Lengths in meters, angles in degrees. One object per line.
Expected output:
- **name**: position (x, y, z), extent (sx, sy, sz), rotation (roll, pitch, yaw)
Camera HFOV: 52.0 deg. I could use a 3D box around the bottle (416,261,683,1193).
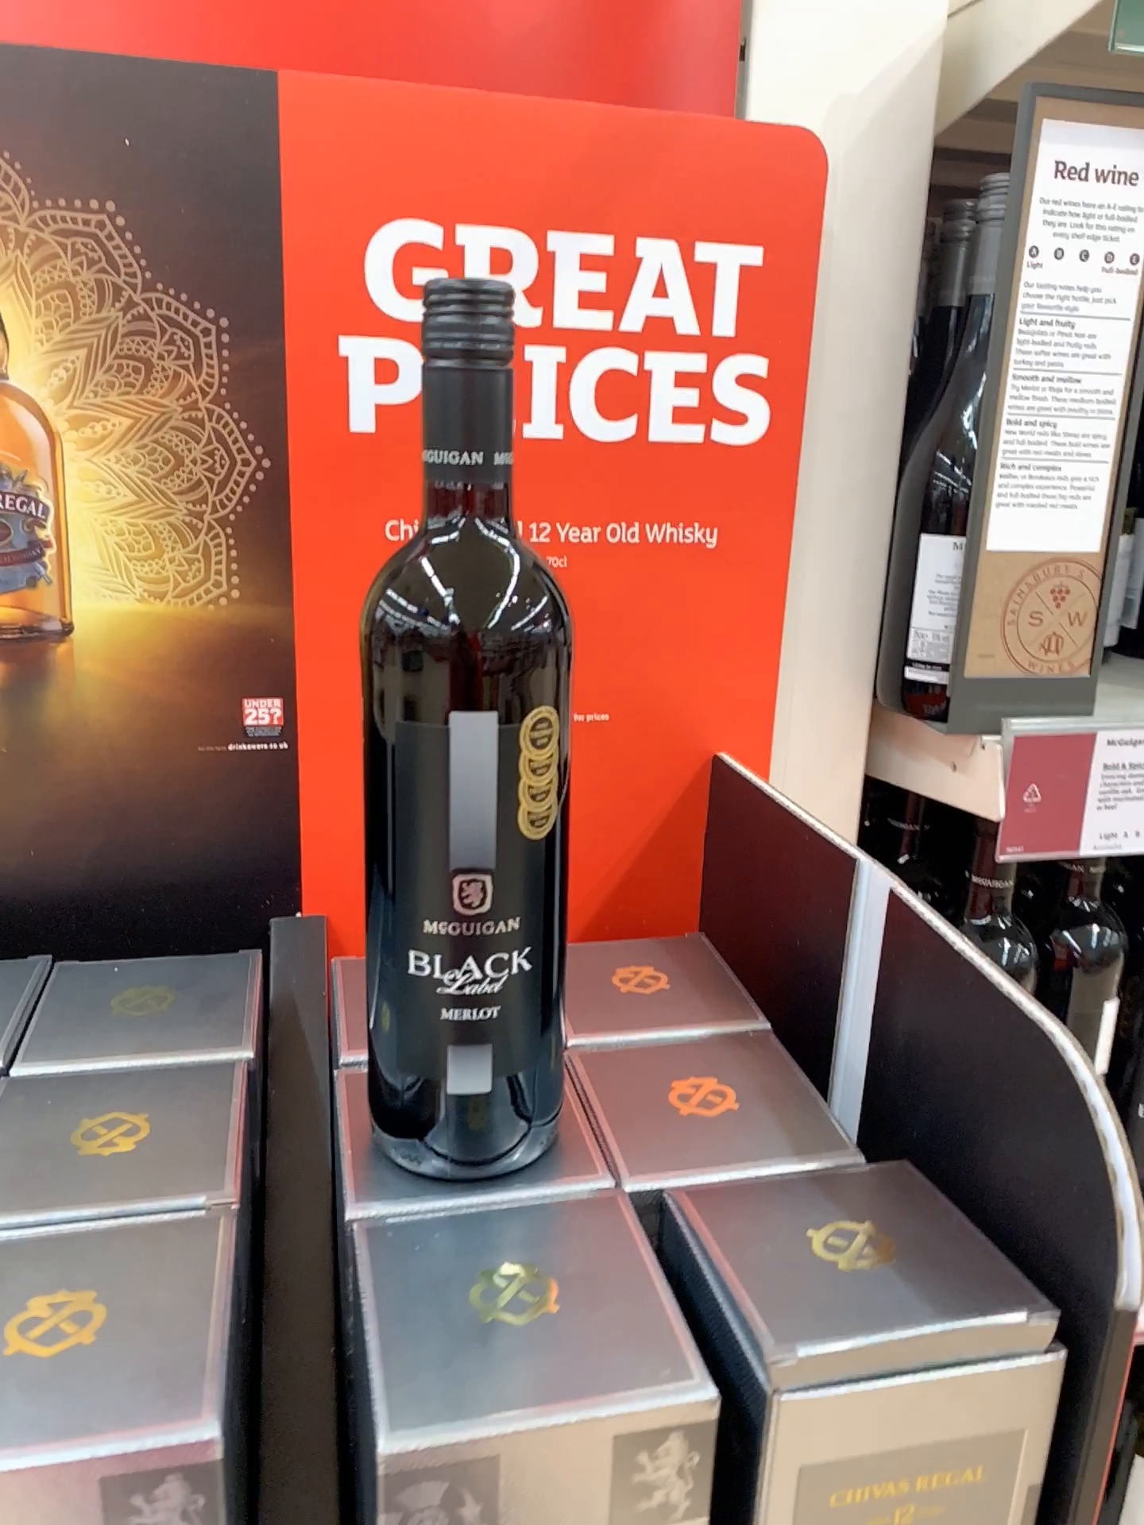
- **bottle**: position (-0.011, -0.007, 0.394), extent (0.070, 0.288, 0.081), rotation (3, 16, 0)
